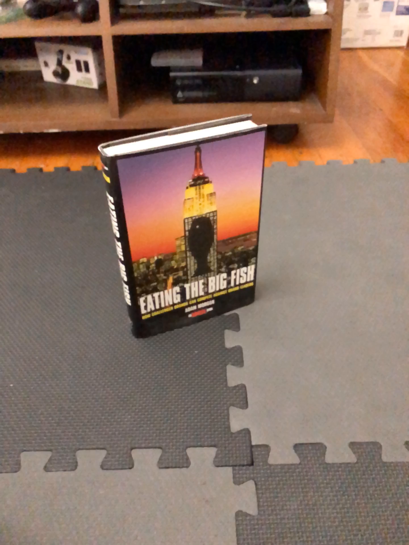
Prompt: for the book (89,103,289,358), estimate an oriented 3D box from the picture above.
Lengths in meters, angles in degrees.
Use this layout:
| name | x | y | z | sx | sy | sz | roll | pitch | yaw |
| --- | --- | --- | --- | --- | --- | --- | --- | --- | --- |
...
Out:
| name | x | y | z | sx | sy | sz | roll | pitch | yaw |
| --- | --- | --- | --- | --- | --- | --- | --- | --- | --- |
| book | -0.010 | -0.036 | 0.507 | 0.180 | 0.258 | 0.050 | -18 | 44 | -18 |
